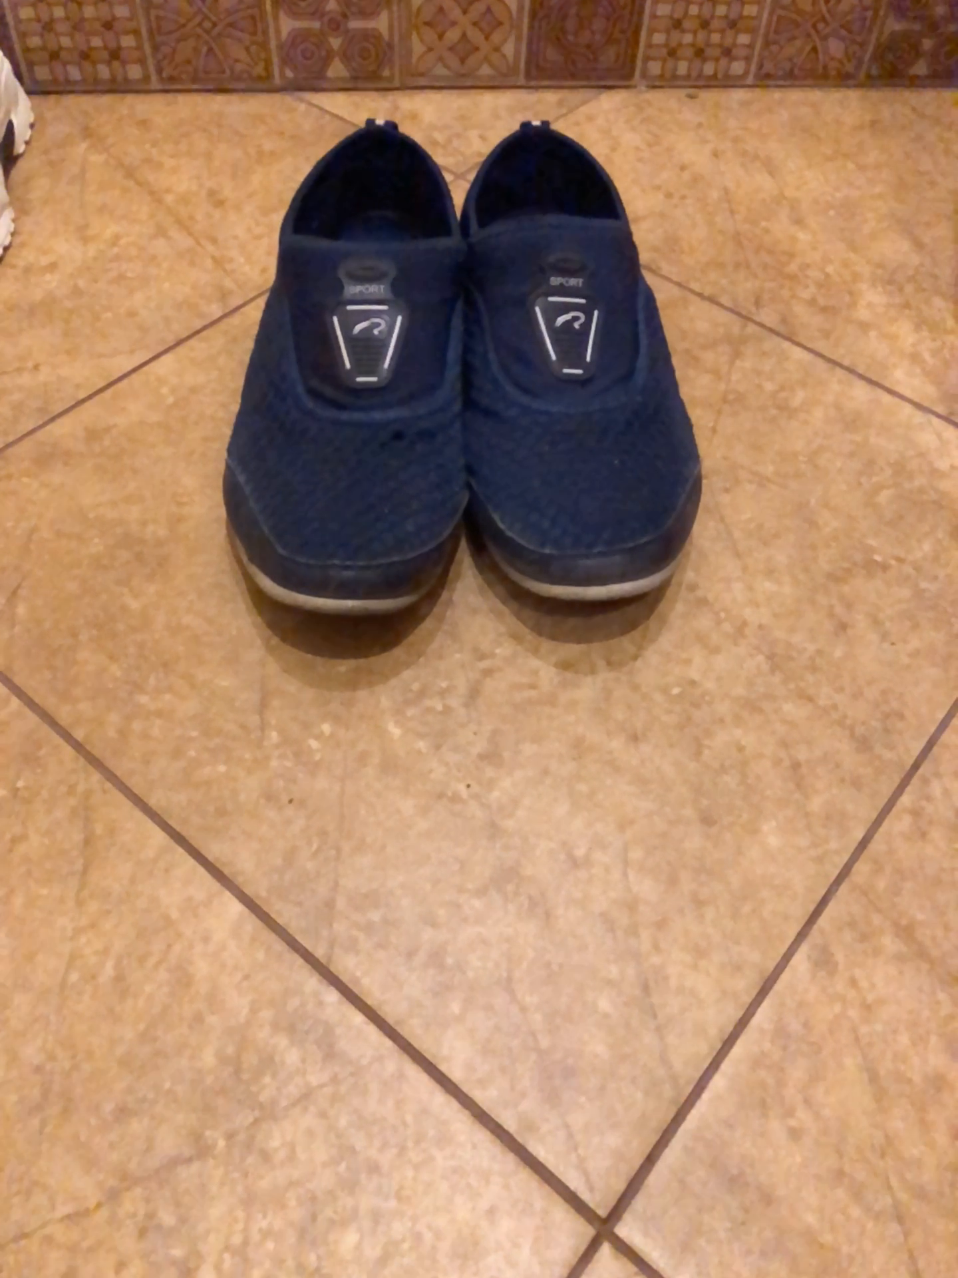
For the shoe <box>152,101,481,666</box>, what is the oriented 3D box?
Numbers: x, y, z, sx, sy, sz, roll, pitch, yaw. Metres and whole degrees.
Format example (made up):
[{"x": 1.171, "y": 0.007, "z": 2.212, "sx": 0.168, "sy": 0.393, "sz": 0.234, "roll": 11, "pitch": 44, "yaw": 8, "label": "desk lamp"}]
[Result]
[{"x": -0.057, "y": -0.129, "z": 0.470, "sx": 0.110, "sy": 0.070, "sz": 0.292, "roll": 1, "pitch": 54, "yaw": -2, "label": "shoe"}]

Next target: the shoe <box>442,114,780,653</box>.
[{"x": 0.044, "y": -0.134, "z": 0.490, "sx": 0.110, "sy": 0.070, "sz": 0.292, "roll": -1, "pitch": 54, "yaw": -4, "label": "shoe"}]
